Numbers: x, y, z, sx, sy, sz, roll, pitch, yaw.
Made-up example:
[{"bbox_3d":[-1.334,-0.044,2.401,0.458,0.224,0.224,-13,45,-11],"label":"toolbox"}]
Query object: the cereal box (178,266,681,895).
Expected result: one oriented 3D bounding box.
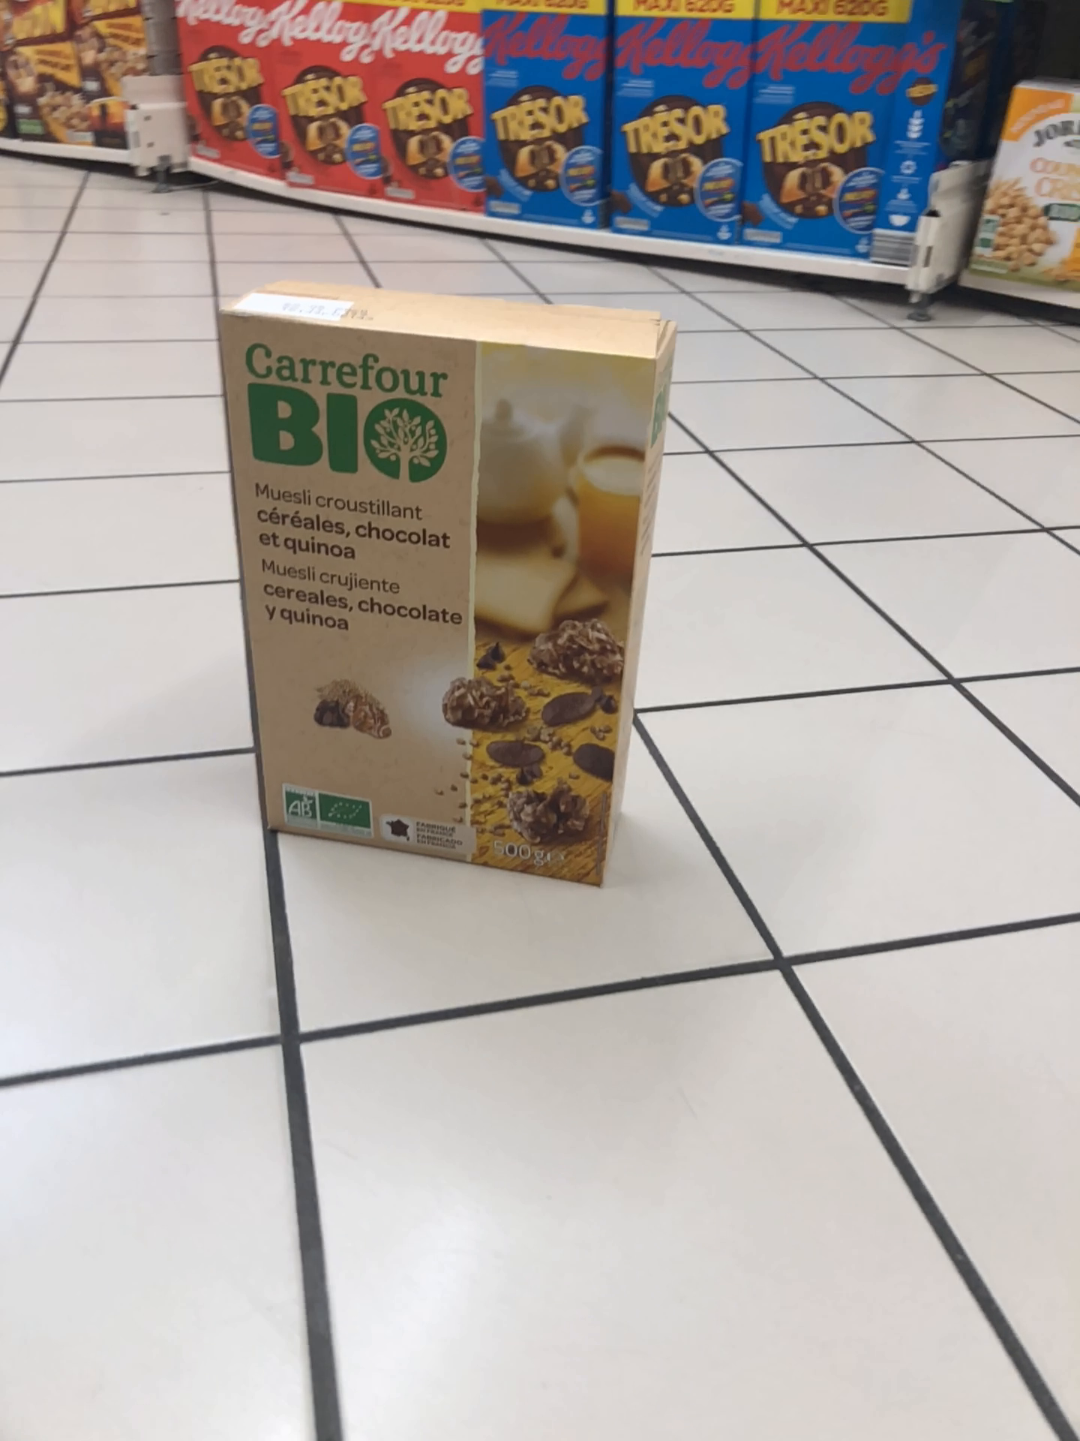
[{"bbox_3d":[-0.043,-0.054,0.490,0.170,0.229,0.070,9,31,9],"label":"cereal box"}]
